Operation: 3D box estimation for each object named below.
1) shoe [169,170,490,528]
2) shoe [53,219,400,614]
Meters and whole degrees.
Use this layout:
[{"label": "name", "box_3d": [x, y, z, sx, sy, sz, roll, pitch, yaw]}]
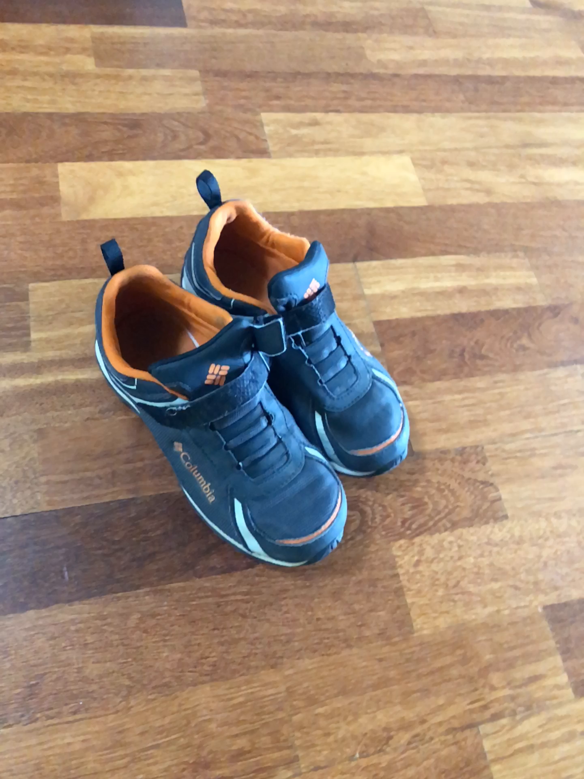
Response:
[{"label": "shoe", "box_3d": [0.015, -0.034, 0.539, 0.112, 0.126, 0.252, -32, 73, -24]}, {"label": "shoe", "box_3d": [-0.055, 0.017, 0.456, 0.097, 0.102, 0.248, -32, 73, -24]}]
